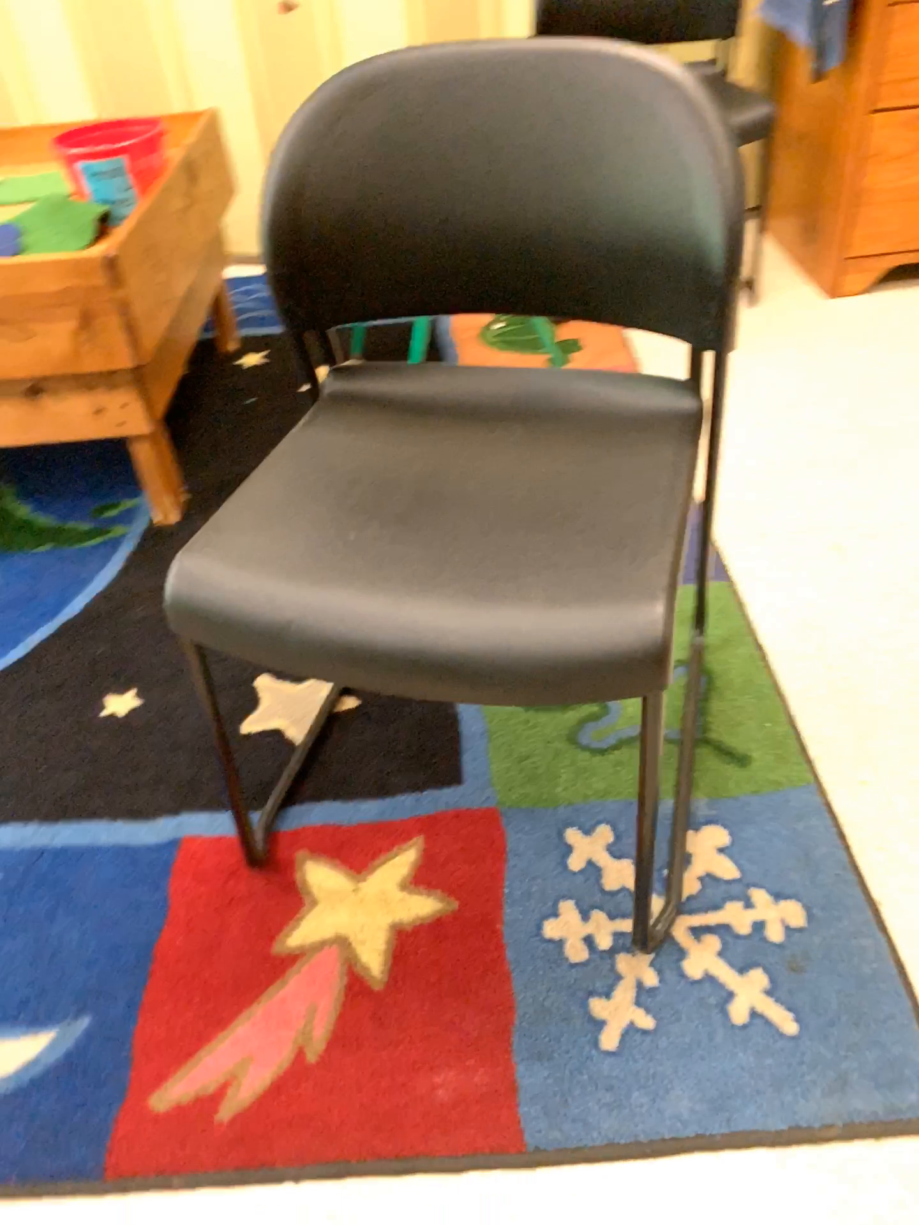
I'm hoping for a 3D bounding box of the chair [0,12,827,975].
[{"bbox_3d":[0.025,-0.148,1.035,0.591,0.775,0.613,7,41,15],"label":"chair"}]
